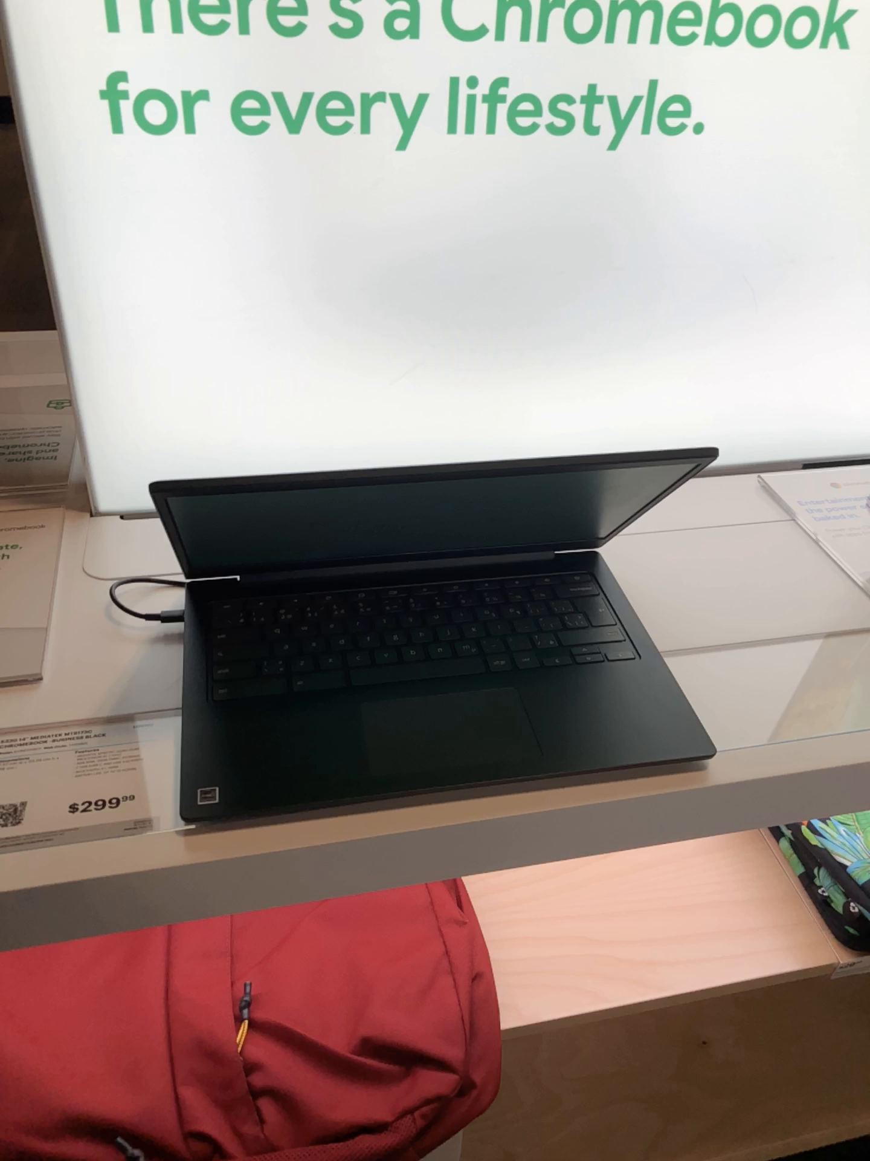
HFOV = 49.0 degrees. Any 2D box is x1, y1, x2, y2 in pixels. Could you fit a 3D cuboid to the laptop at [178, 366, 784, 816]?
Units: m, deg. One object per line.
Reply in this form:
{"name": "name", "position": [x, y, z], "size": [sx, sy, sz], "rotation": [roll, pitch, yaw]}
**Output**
{"name": "laptop", "position": [0.008, -0.009, 0.598], "size": [0.306, 0.157, 0.214], "rotation": [-5, 37, -10]}
